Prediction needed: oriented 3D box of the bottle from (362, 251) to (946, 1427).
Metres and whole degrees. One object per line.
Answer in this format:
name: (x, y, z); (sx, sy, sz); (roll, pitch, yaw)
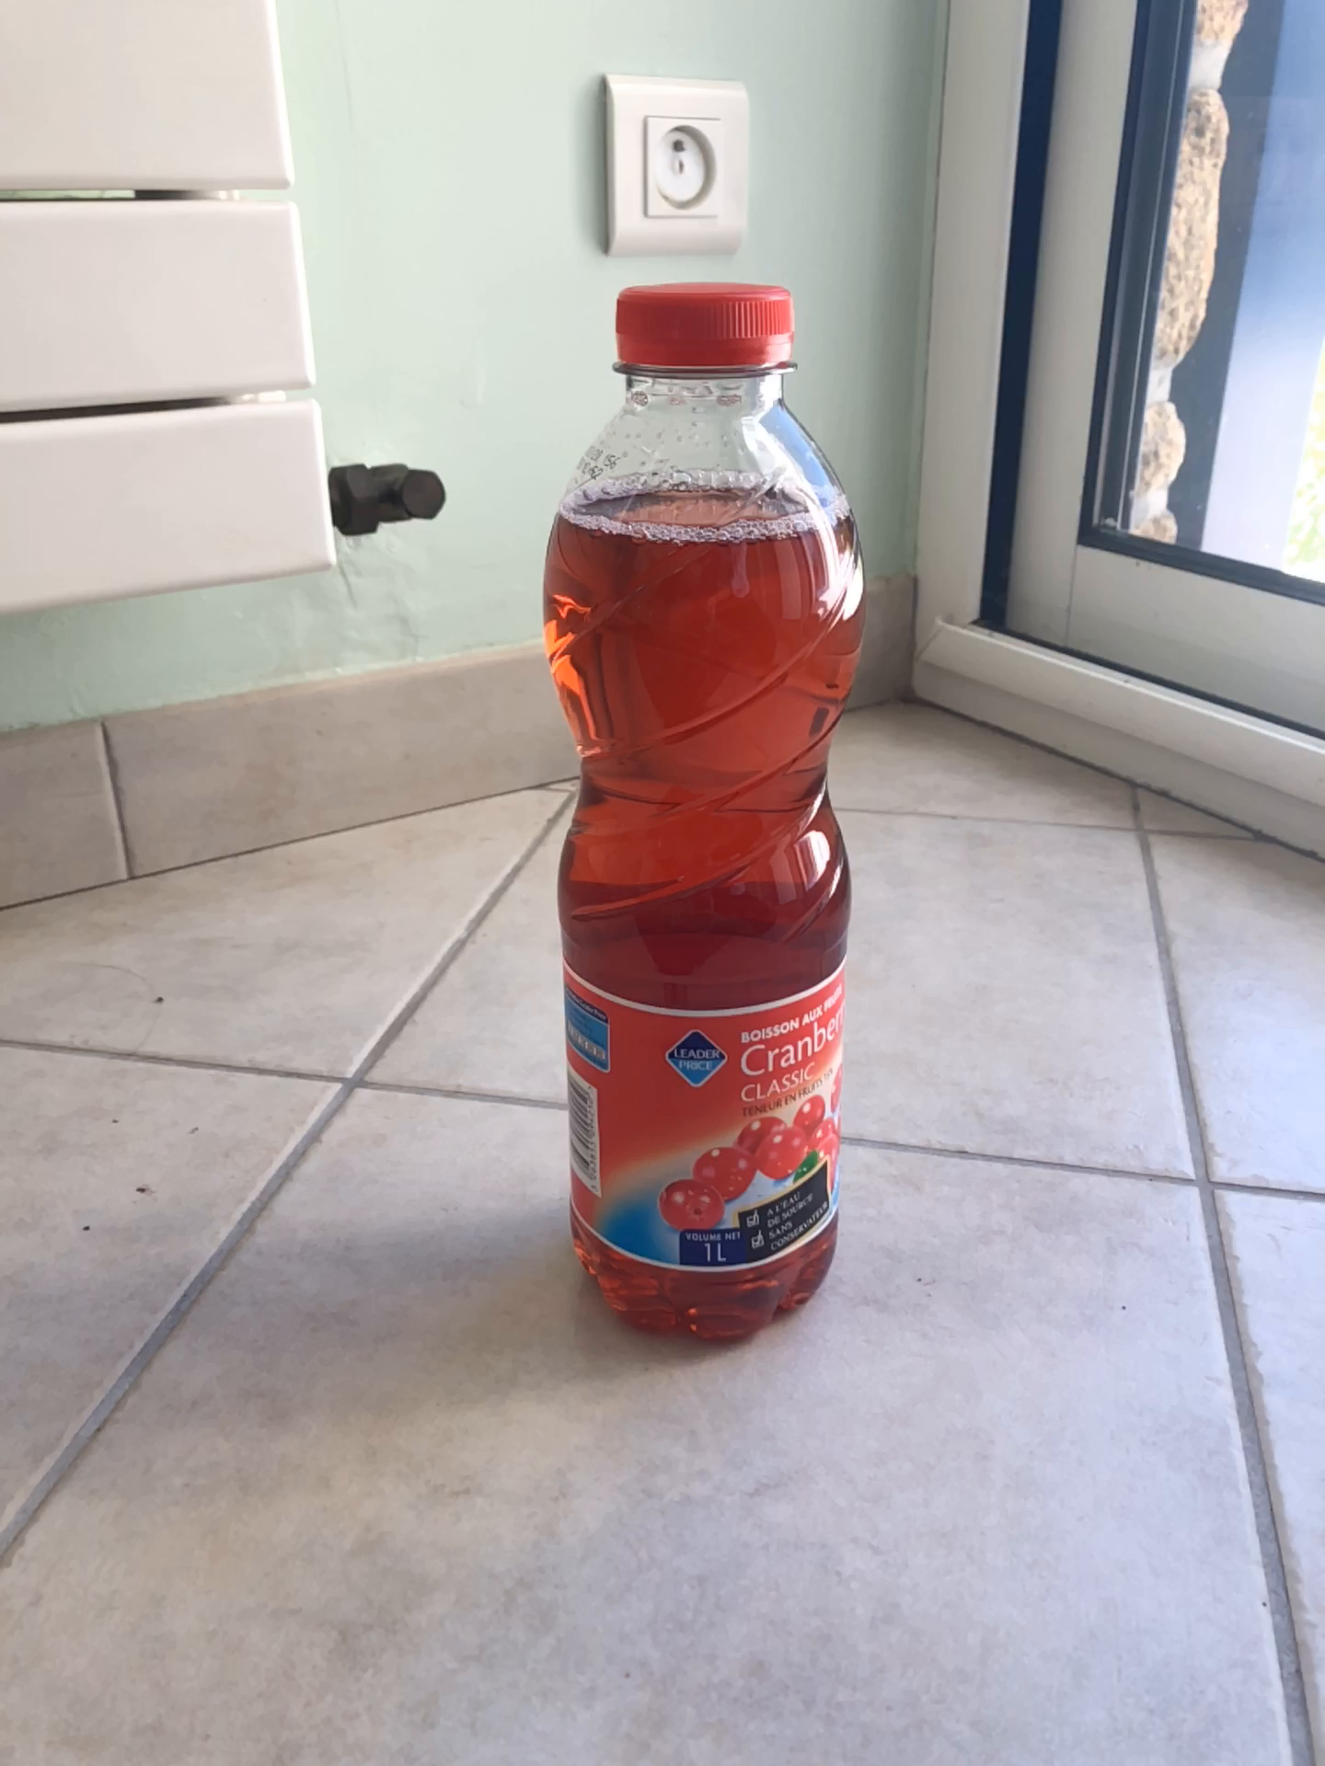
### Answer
bottle: (-0.001, -0.011, 0.355); (0.090, 0.259, 0.080); (-20, 31, -36)
